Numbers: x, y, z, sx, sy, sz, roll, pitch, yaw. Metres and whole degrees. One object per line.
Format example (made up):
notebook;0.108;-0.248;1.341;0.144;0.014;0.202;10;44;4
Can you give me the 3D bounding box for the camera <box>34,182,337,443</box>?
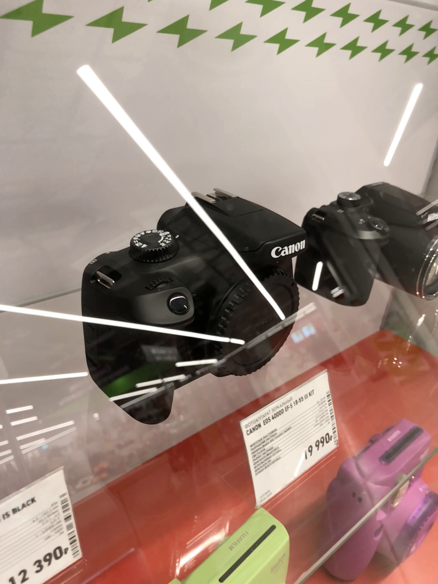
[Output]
camera;-0.018;-0.003;0.288;0.136;0.083;0.100;-21;38;-41
